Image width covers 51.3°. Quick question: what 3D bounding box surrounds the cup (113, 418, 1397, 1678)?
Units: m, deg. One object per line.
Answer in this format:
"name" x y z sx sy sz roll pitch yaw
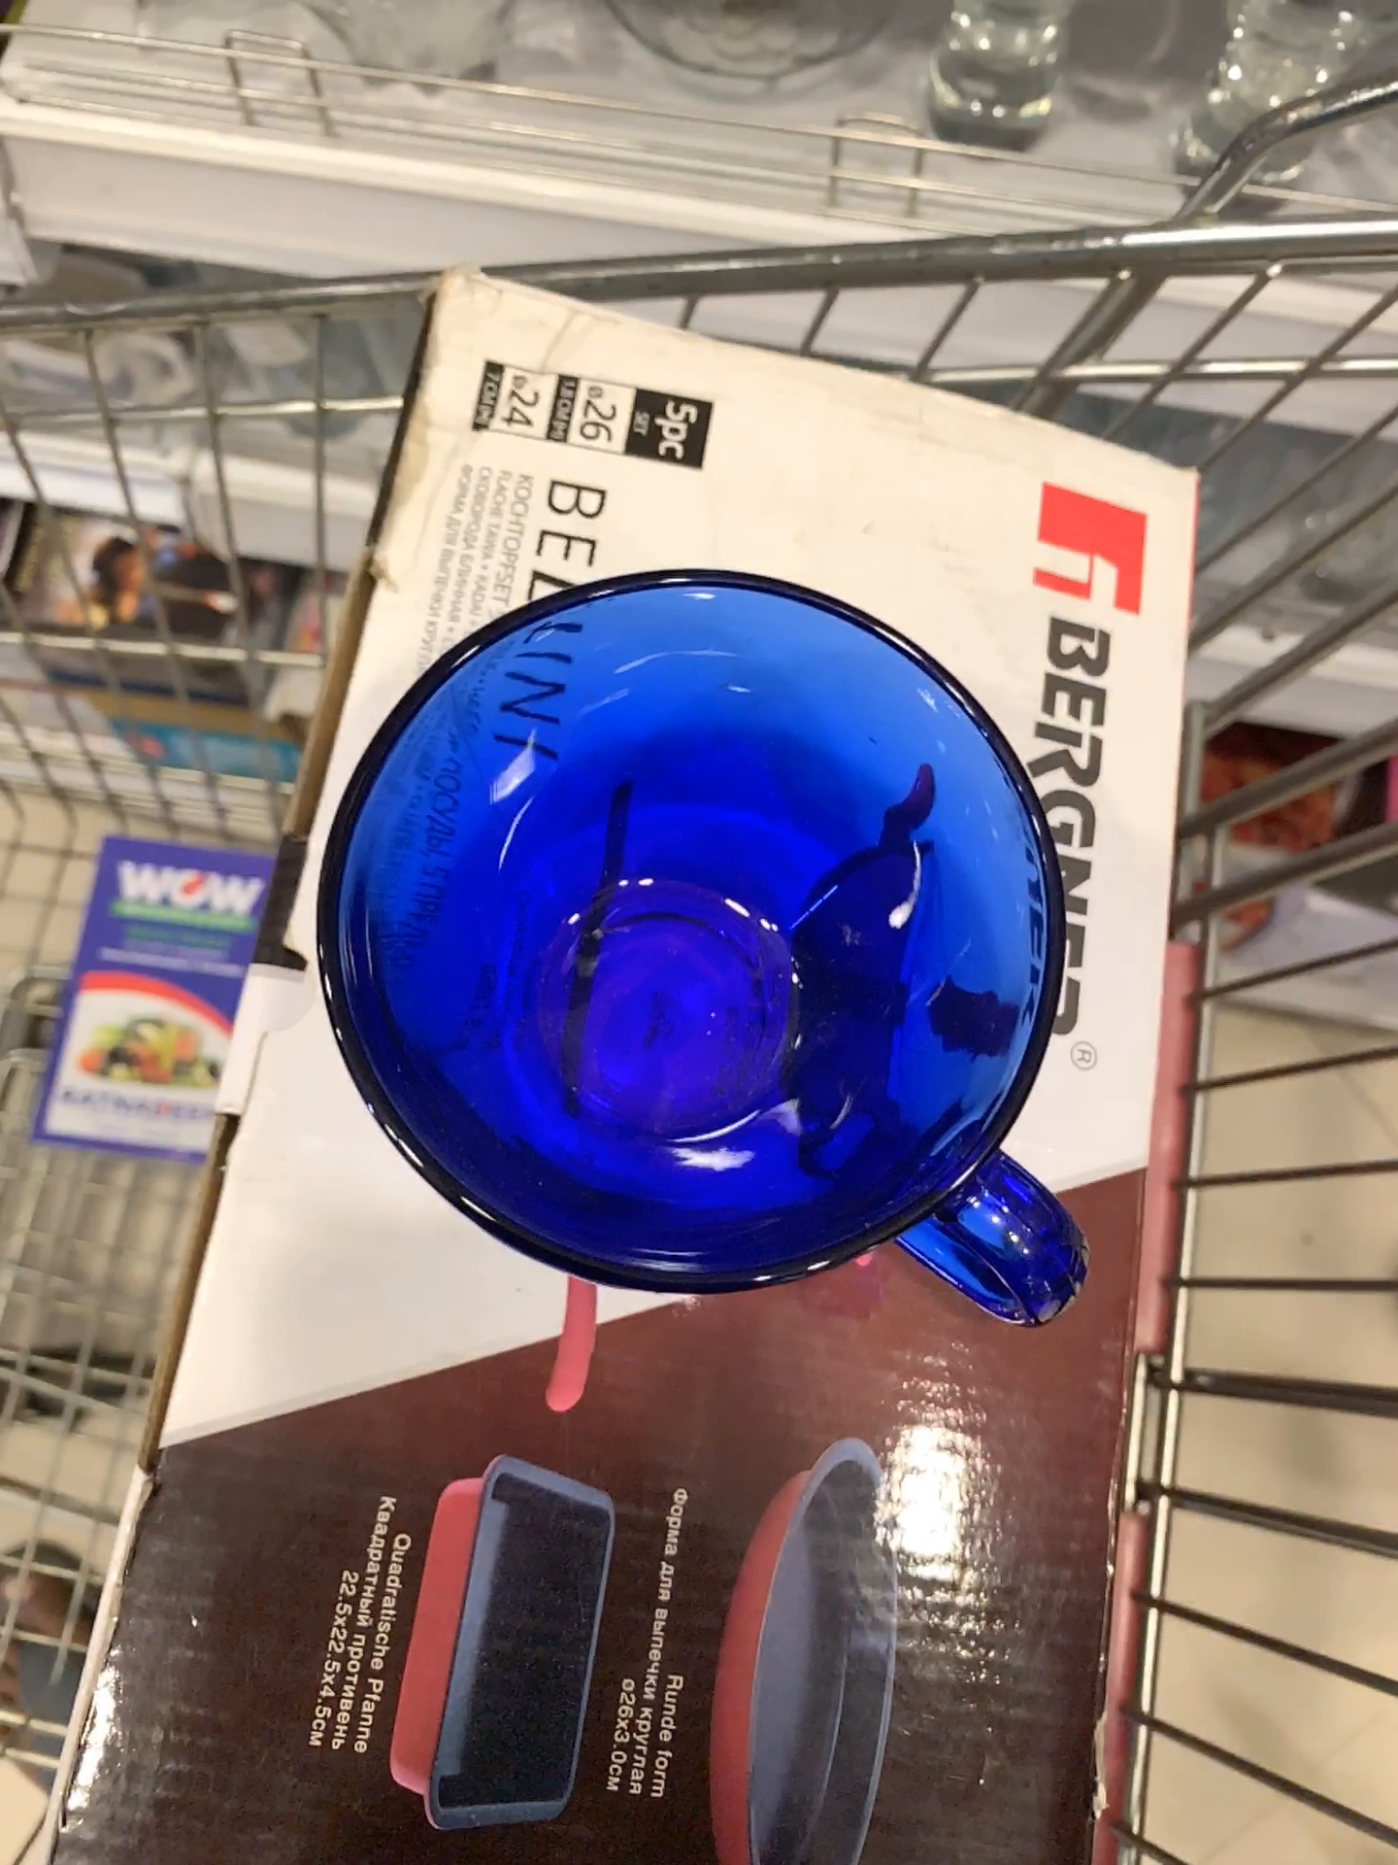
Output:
"cup" 0.008 0.011 0.172 0.110 0.050 0.080 37 77 10
